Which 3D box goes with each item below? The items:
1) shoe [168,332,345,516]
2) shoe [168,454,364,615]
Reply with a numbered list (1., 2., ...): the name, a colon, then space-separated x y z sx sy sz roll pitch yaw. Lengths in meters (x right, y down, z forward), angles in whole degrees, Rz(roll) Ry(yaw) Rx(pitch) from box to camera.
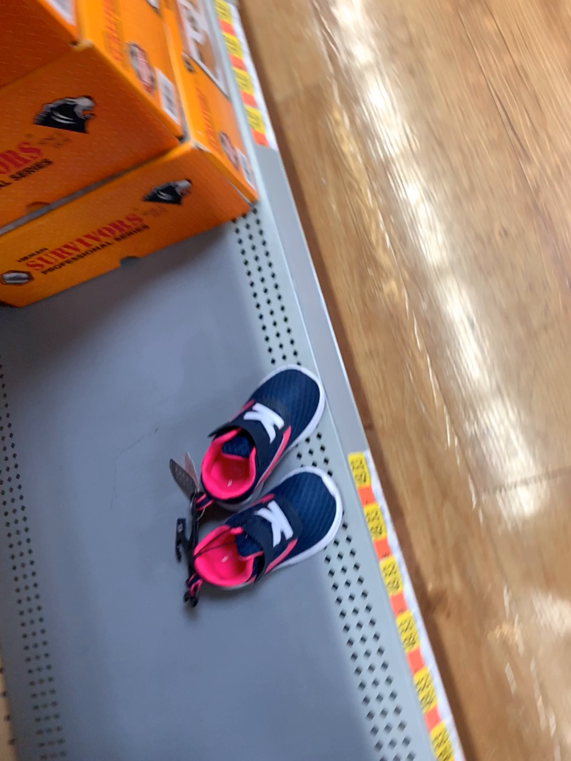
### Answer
1. shoe: -0.025 0.041 0.540 0.073 0.064 0.145 40 96 20
2. shoe: -0.017 0.134 0.523 0.145 0.064 0.073 -33 73 12
